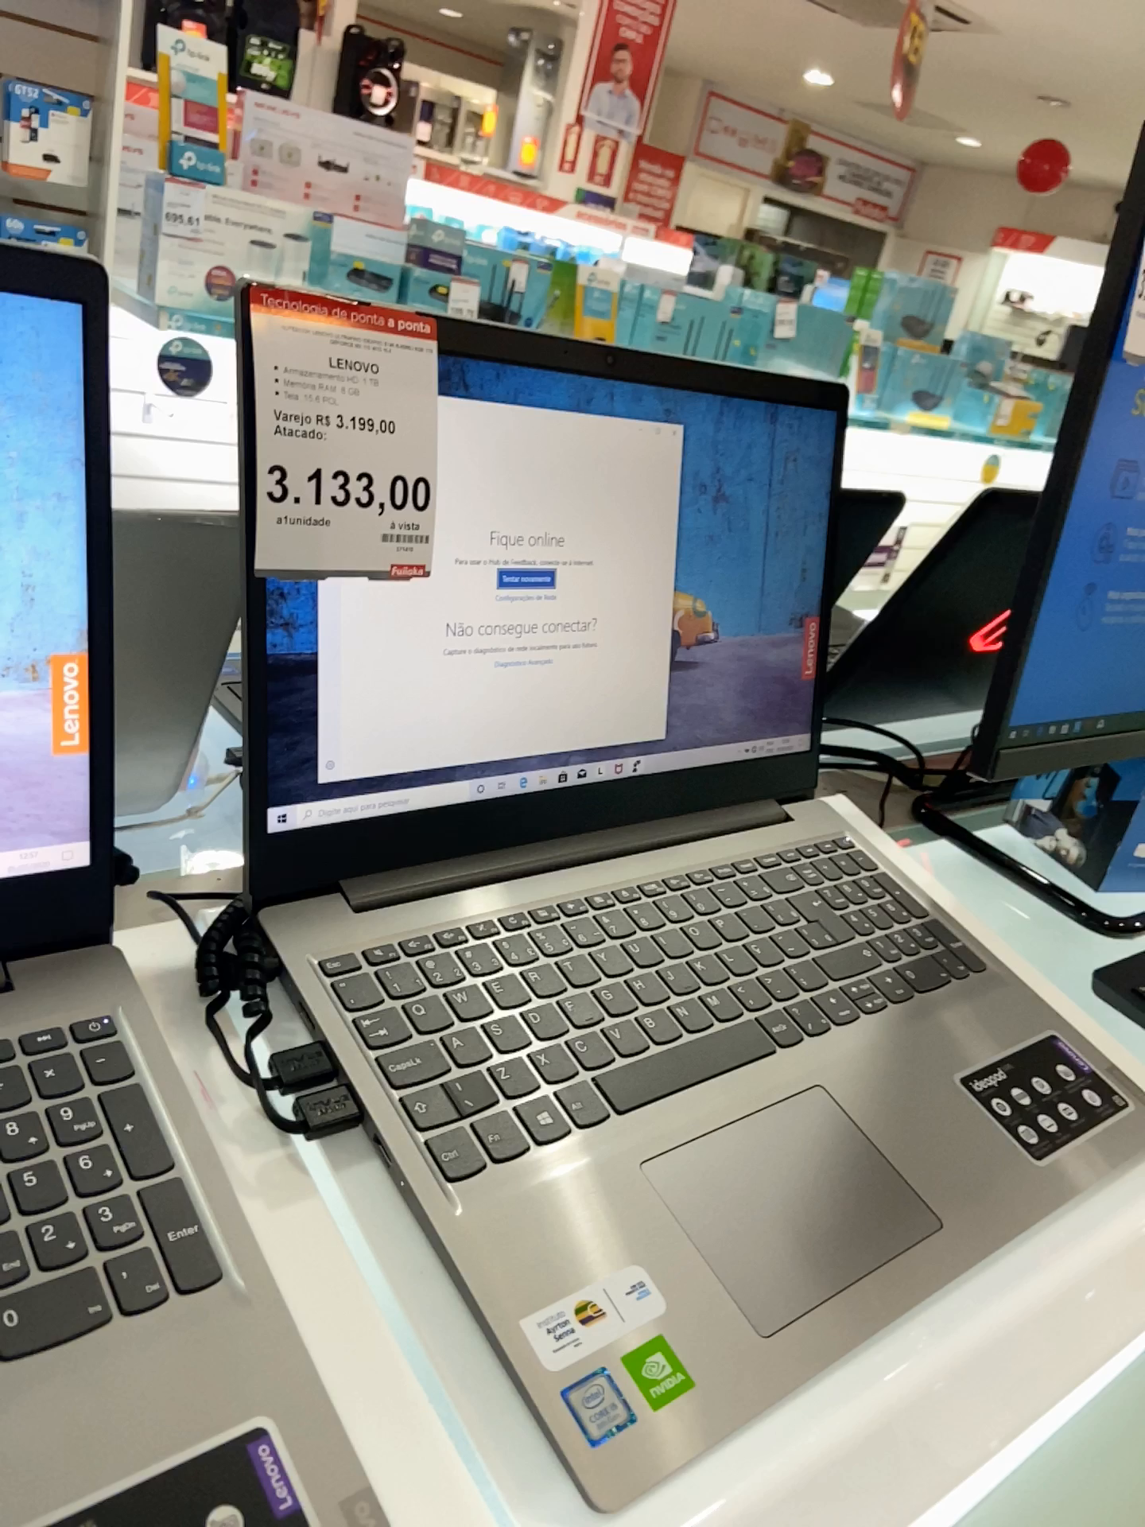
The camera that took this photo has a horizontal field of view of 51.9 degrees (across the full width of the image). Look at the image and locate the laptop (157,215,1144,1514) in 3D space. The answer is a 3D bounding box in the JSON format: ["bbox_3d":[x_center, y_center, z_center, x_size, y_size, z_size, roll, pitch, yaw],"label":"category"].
[{"bbox_3d":[0.072,-0.019,0.502,0.363,0.224,0.360,-7,38,-40],"label":"laptop"}]
